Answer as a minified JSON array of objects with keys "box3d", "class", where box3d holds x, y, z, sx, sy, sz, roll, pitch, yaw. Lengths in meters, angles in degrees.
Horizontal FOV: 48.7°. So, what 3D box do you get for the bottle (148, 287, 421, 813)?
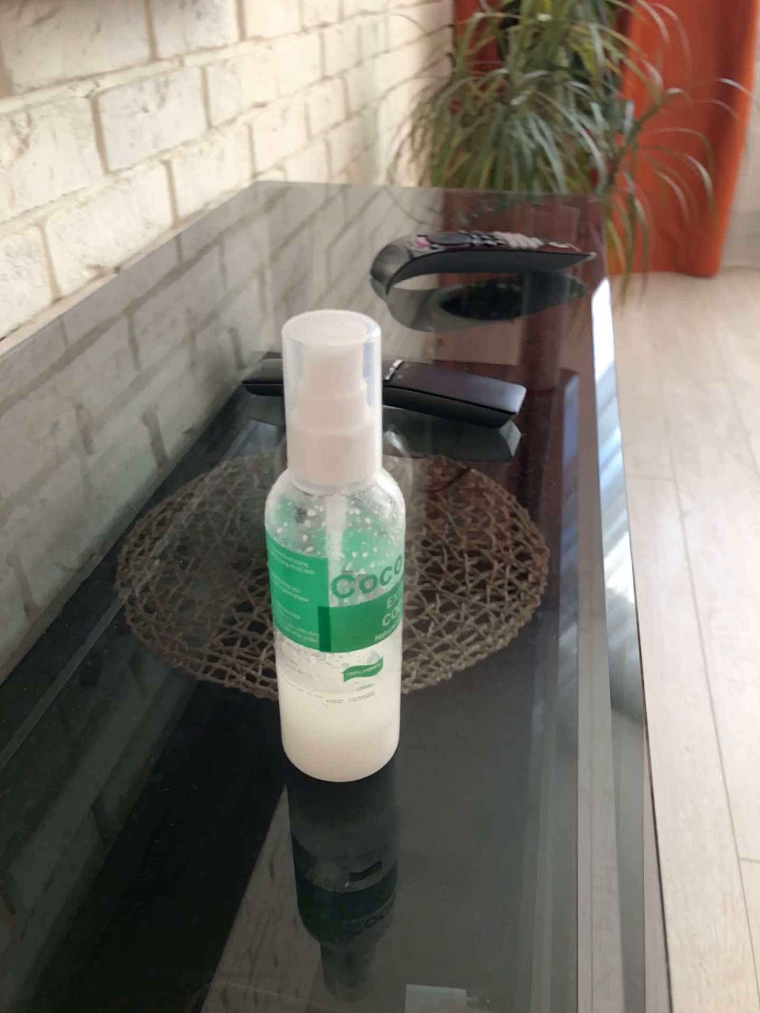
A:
[{"box3d":[-0.020,0.016,0.240,0.050,0.139,0.050,-1,32,0],"class":"bottle"}]
